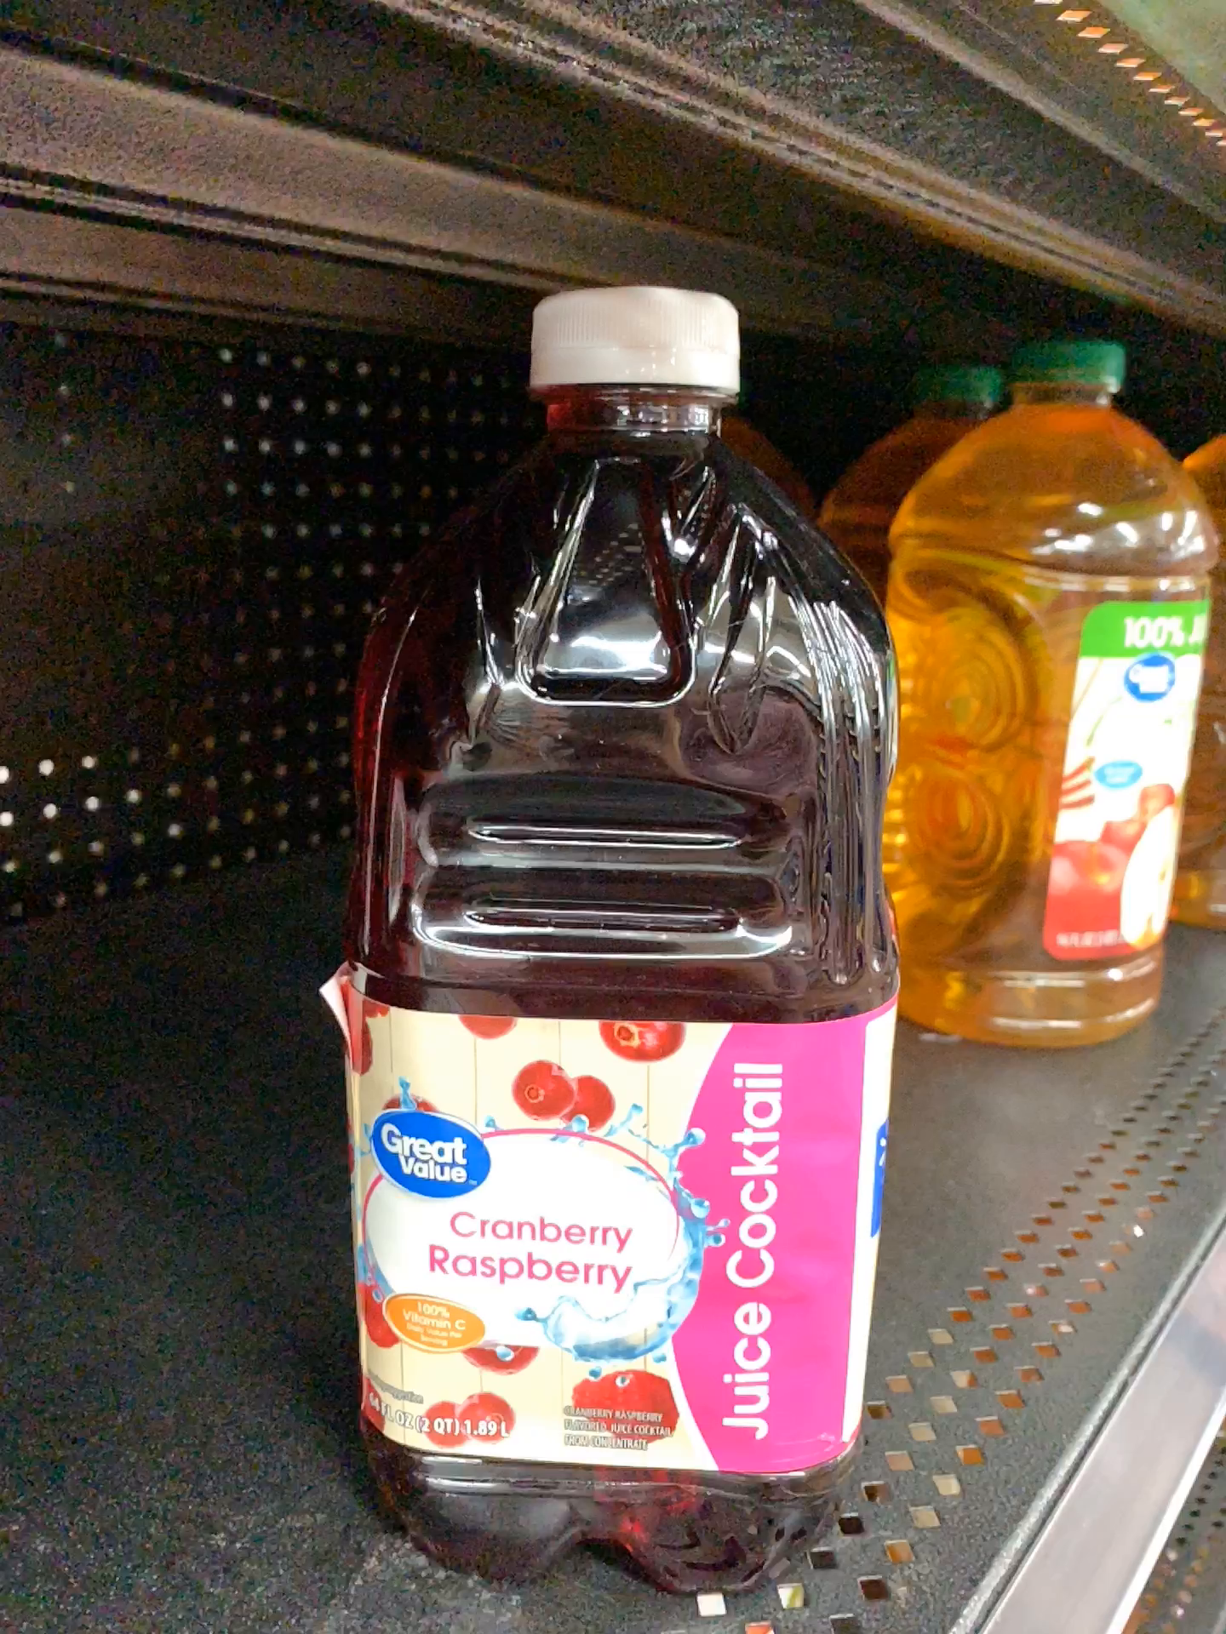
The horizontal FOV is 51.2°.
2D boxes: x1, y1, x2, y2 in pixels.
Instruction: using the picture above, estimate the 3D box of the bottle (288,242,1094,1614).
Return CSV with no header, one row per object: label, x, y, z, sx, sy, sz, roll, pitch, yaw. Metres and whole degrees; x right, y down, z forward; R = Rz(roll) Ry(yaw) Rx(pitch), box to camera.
bottle,0.009,0.024,0.281,0.125,0.259,0.100,3,15,2
